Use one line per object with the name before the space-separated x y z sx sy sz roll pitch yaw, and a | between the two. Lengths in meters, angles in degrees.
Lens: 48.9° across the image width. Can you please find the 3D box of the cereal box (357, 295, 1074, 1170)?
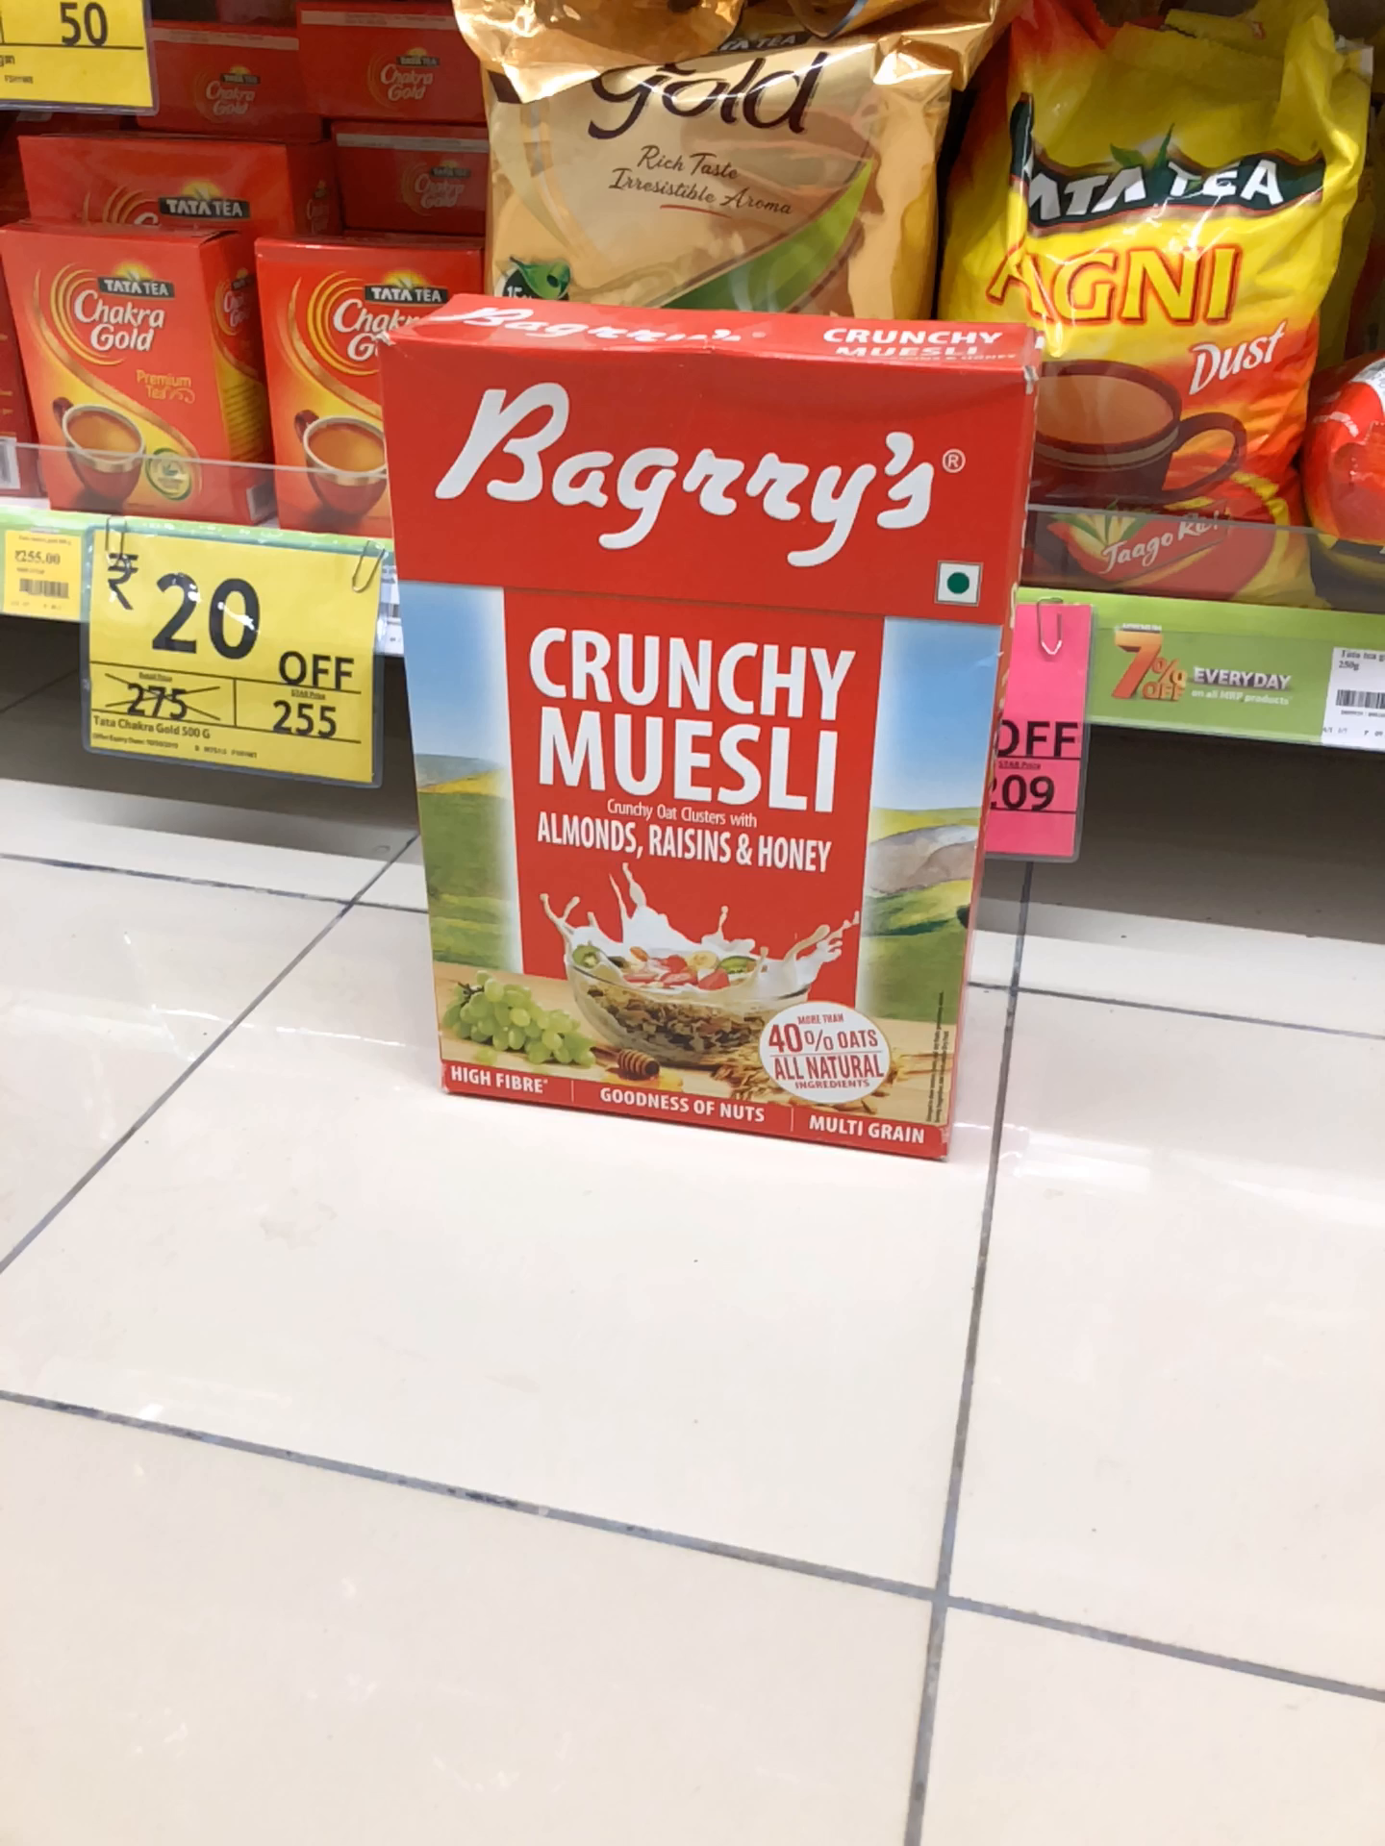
cereal box | 0.009 -0.059 0.513 0.200 0.268 0.071 6 30 10
